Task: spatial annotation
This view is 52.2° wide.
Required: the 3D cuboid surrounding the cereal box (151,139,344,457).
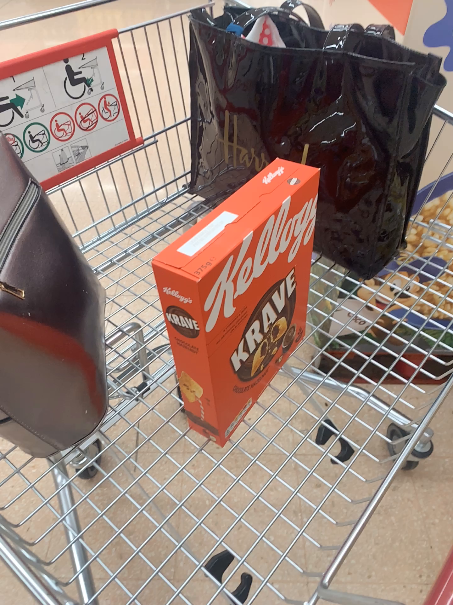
[{"bbox_3d":[0.031,-0.003,0.448,0.050,0.228,0.211,24,49,26],"label":"cereal box"}]
